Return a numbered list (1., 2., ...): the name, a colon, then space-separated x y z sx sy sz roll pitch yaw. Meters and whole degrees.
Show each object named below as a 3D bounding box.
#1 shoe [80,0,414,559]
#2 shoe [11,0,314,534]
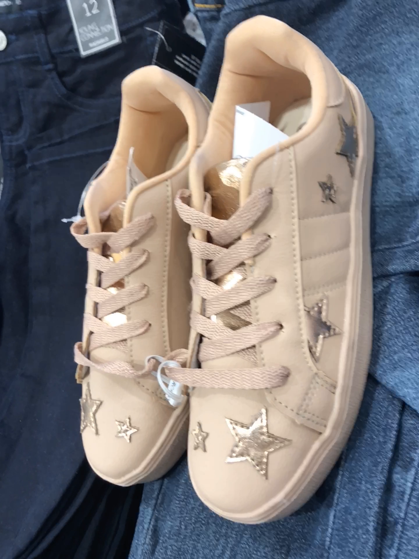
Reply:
1. shoe: 0.031 -0.006 0.233 0.090 0.089 0.250 -2 69 41
2. shoe: -0.022 -0.007 0.275 0.090 0.089 0.250 5 80 43
